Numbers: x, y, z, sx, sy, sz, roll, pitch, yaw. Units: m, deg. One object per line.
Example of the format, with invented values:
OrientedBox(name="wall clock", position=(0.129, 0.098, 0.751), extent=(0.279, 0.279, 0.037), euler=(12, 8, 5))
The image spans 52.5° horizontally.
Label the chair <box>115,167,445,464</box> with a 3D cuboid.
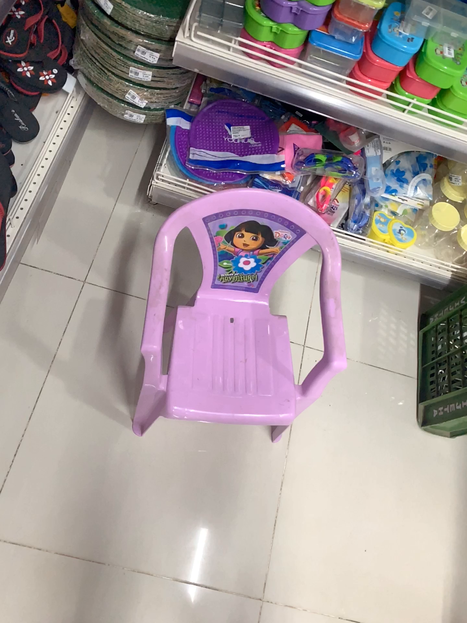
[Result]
OrientedBox(name="chair", position=(0.027, 0.059, 0.812), extent=(0.400, 0.430, 0.340), euler=(6, 67, -10))
